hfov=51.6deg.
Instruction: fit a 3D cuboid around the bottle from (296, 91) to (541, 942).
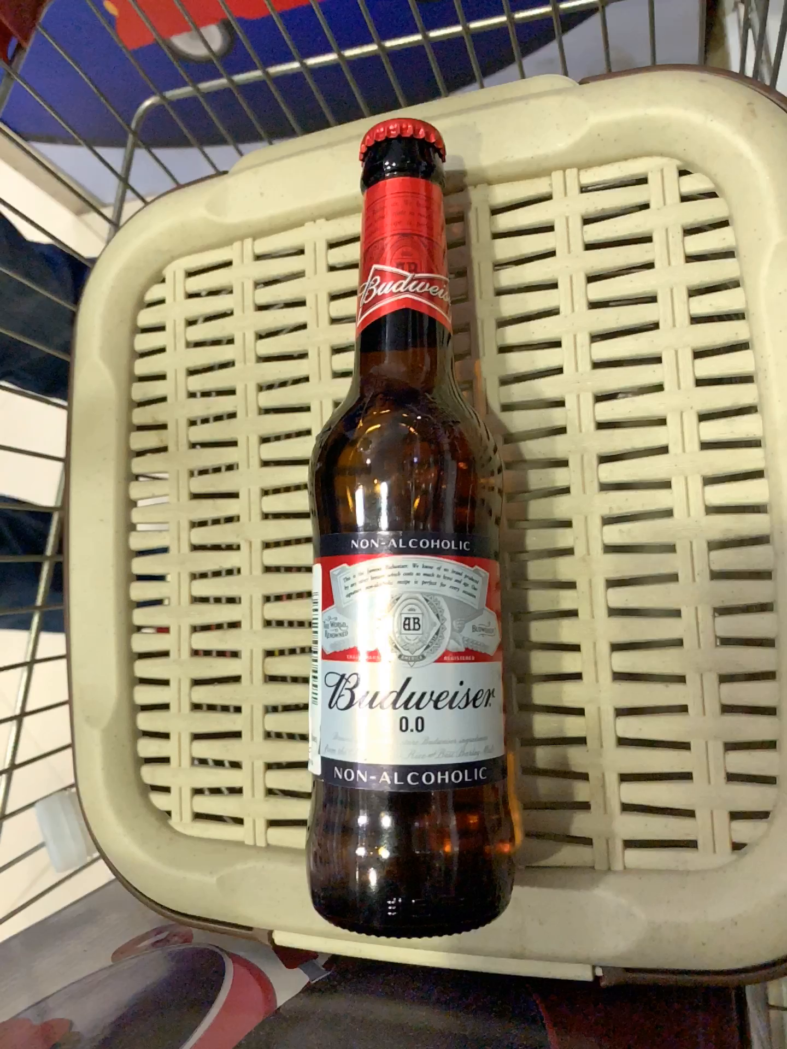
[{"bbox_3d":[0.006,-0.004,0.240,0.060,0.060,0.220,-1,84,2],"label":"bottle"}]
